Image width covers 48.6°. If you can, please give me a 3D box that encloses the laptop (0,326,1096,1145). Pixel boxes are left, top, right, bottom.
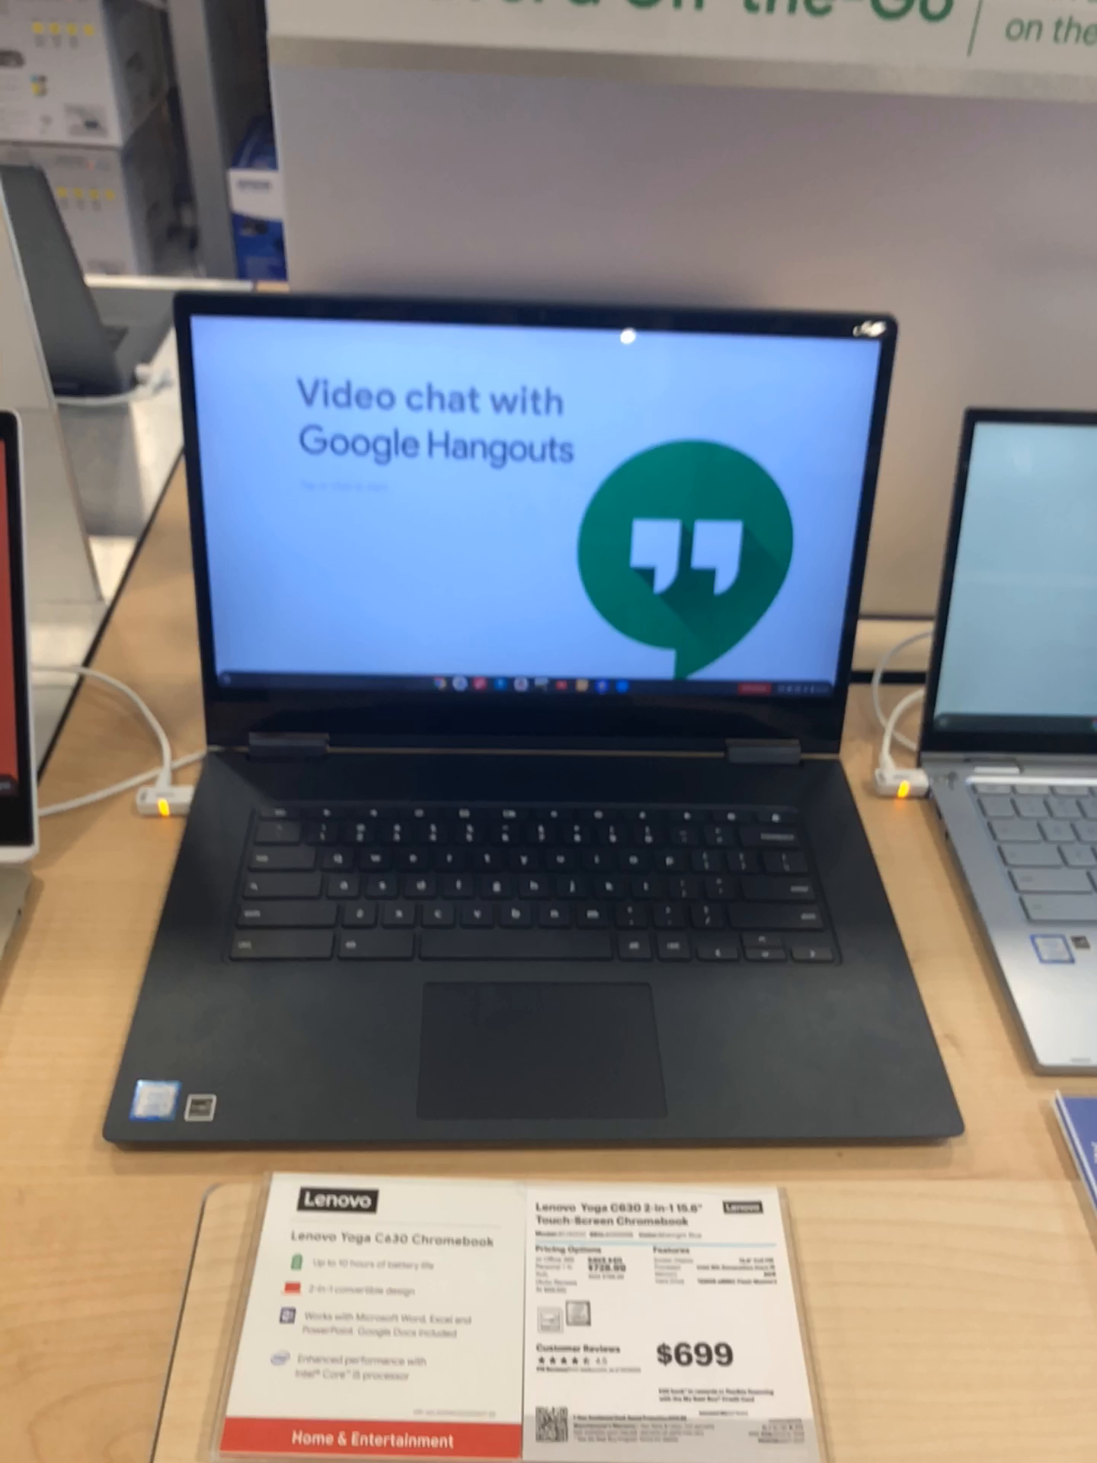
[{"bbox_3d":[0.003,-0.014,0.539,0.343,0.230,0.293,1,38,-2],"label":"laptop"}]
